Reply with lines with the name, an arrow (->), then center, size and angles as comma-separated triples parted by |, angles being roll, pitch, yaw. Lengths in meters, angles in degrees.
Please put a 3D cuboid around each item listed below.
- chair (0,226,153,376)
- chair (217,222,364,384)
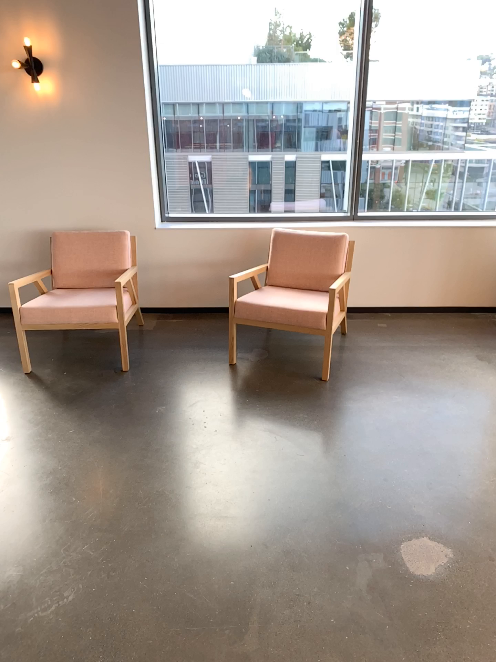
chair -> -1.119, -0.234, 3.462 | 0.740, 0.795, 0.774 | 0, 23, 1
chair -> 0.302, -0.236, 3.377 | 0.741, 0.796, 0.773 | 8, 23, 20
